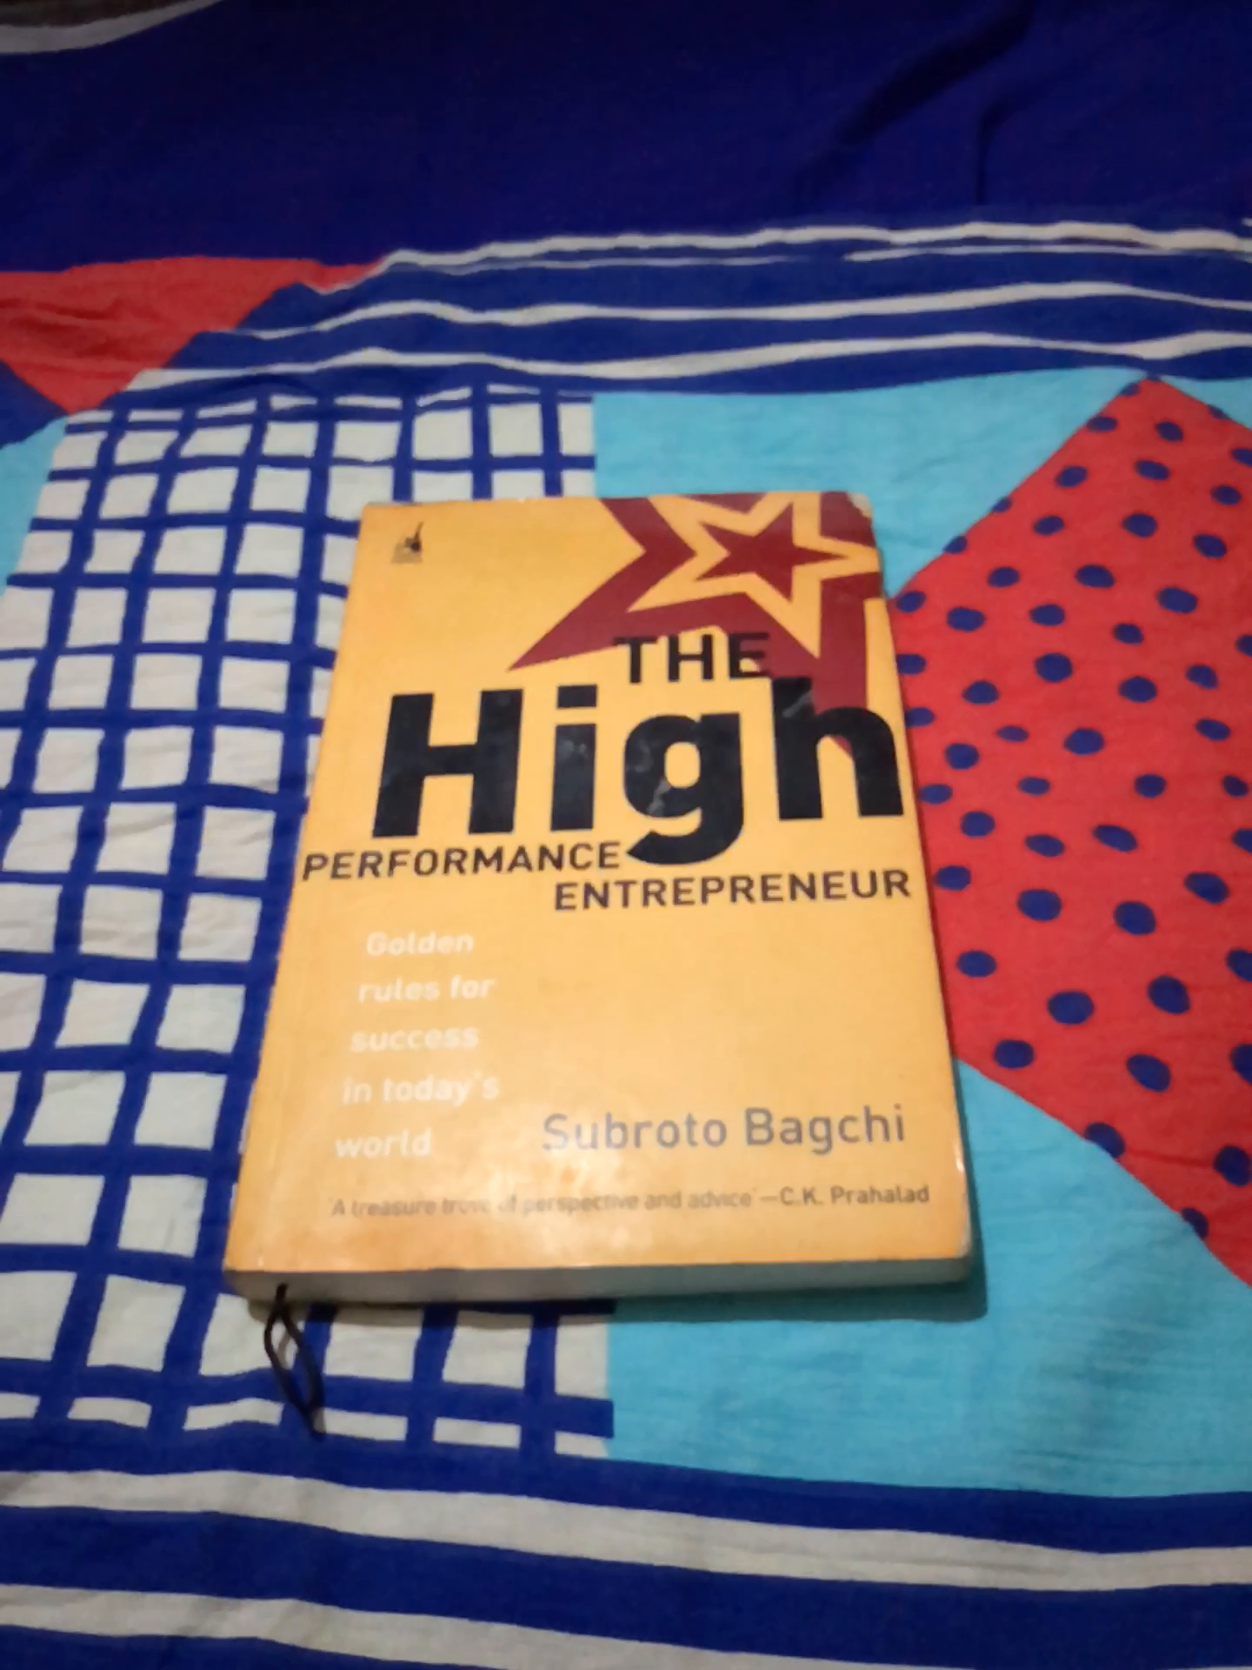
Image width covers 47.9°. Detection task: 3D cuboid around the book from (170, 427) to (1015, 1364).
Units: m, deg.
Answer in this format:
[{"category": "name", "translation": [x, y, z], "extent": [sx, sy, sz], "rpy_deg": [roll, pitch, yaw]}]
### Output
[{"category": "book", "translation": [-0.003, -0.004, 0.320], "extent": [0.140, 0.040, 0.231], "rpy_deg": [-1, 51, 3]}]
